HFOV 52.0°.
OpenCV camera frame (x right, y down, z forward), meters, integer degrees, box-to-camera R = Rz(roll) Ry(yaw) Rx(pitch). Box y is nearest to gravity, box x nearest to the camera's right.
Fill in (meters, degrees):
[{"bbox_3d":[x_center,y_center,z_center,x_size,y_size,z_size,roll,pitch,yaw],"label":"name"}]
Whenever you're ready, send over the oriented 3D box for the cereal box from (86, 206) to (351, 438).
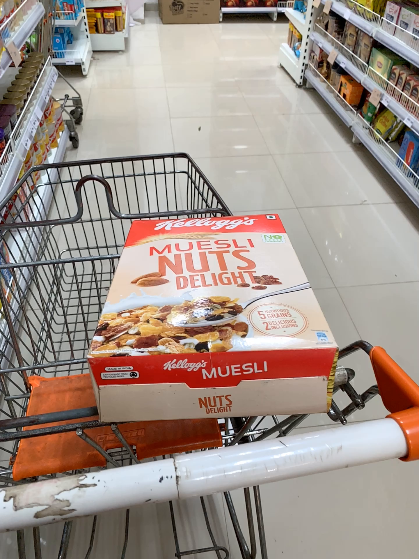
[{"bbox_3d":[0.000,0.018,0.443,0.190,0.079,0.272,-2,33,-3],"label":"cereal box"}]
